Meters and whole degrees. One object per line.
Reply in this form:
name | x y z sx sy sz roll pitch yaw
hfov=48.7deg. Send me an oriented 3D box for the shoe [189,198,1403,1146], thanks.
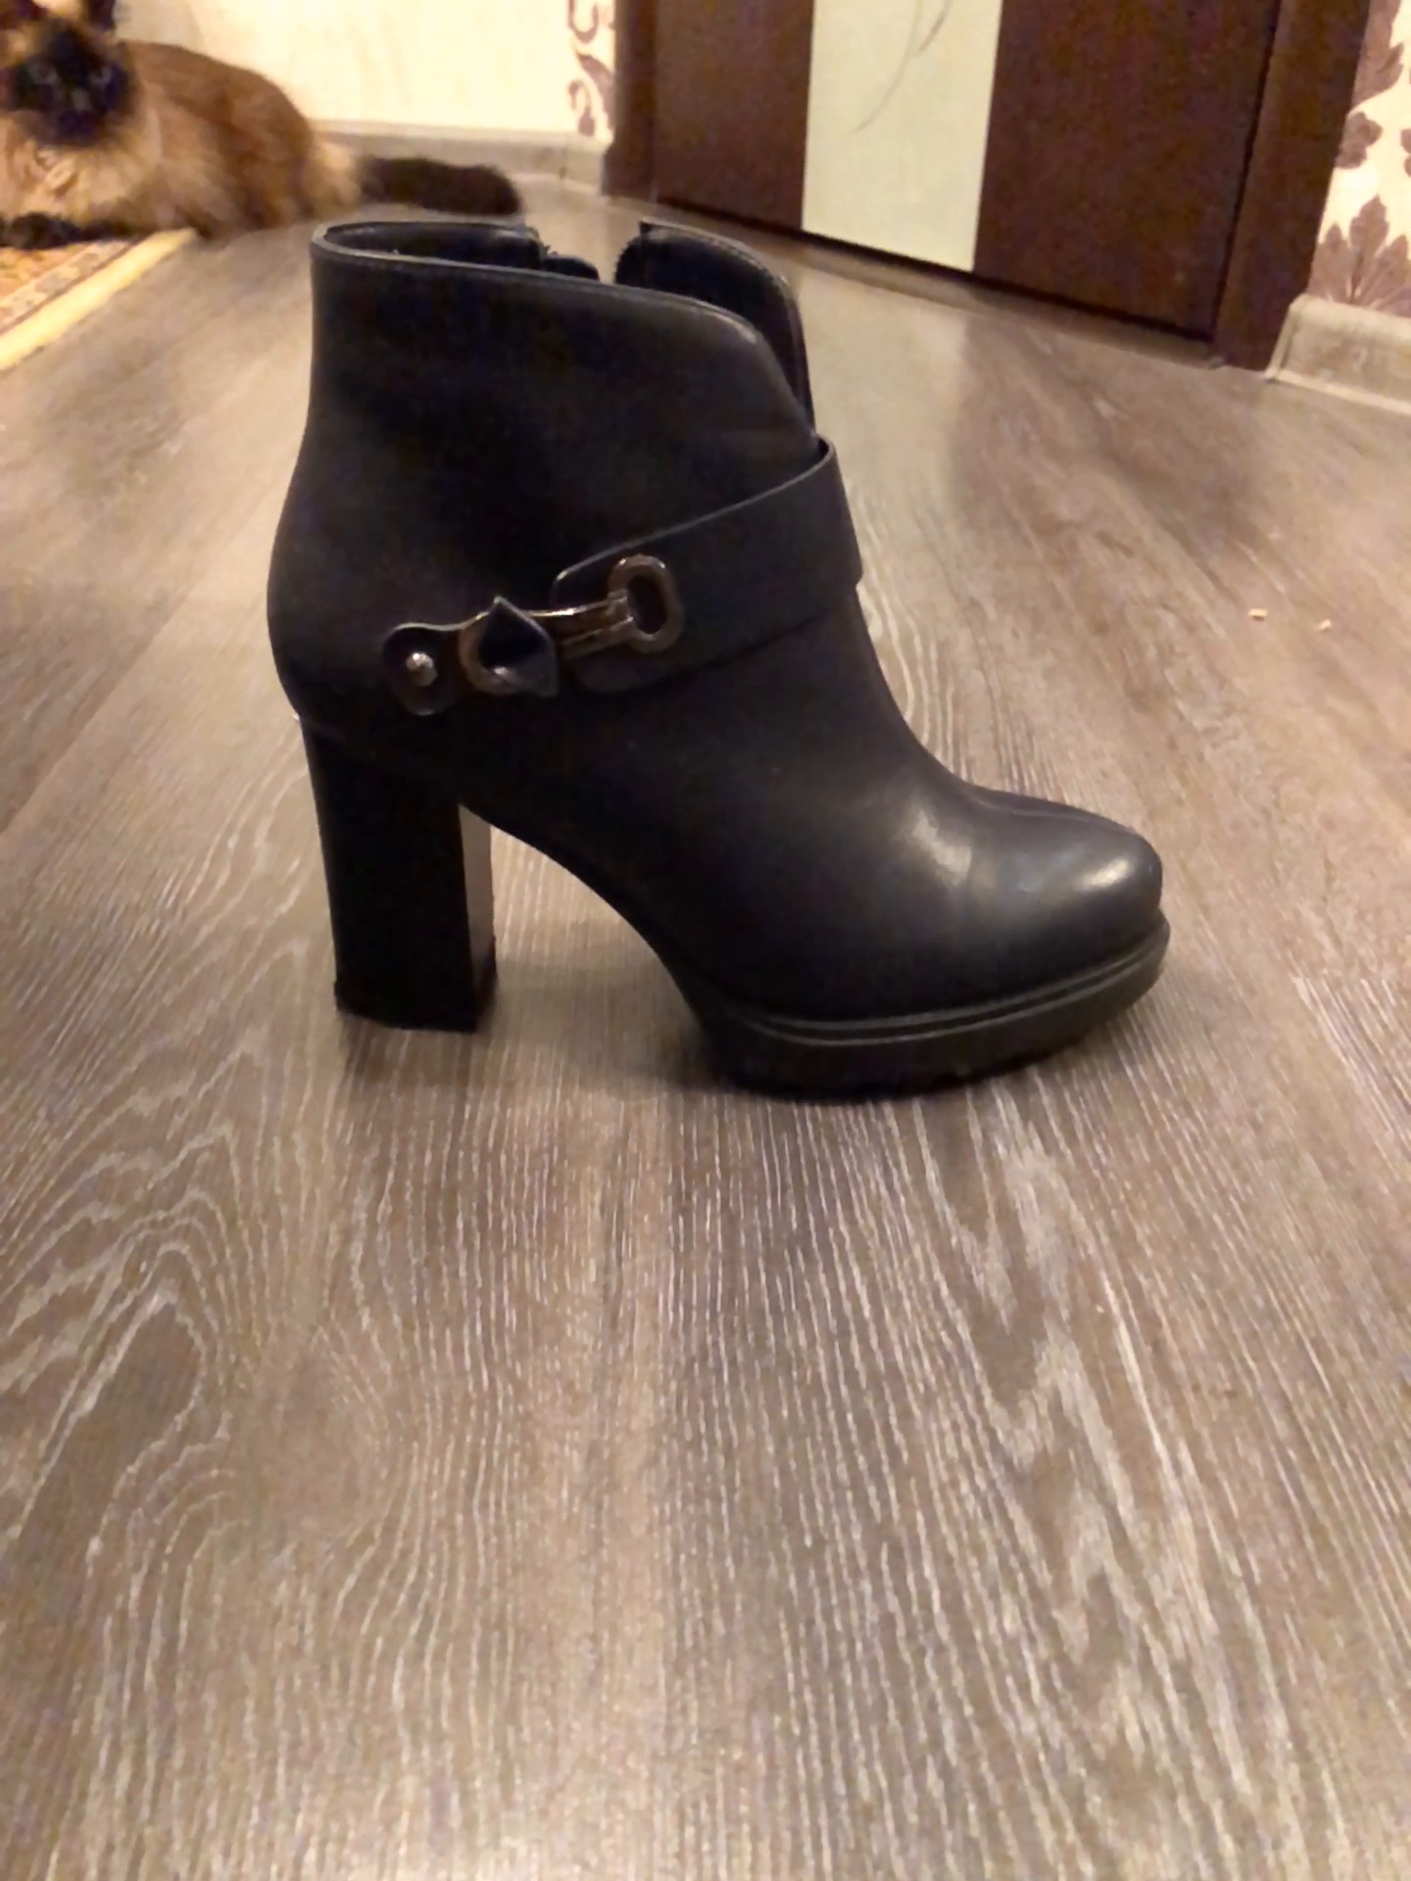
shoe | 0.016 -0.066 0.371 0.220 0.179 0.101 6 32 6
